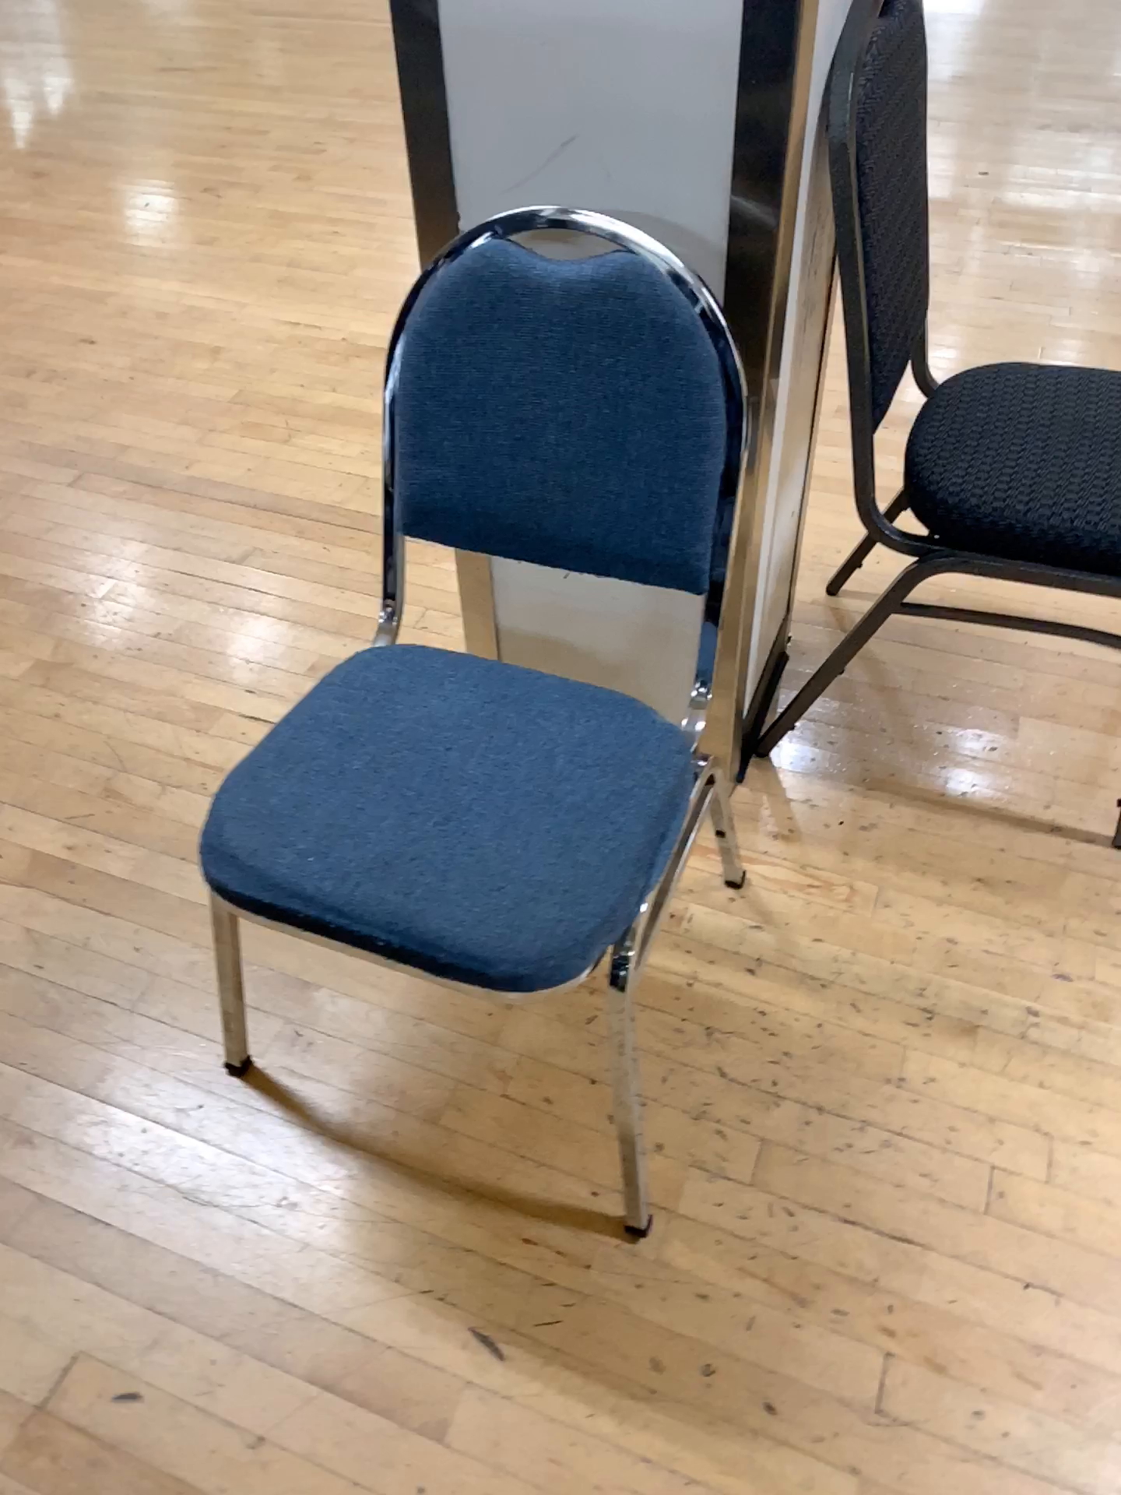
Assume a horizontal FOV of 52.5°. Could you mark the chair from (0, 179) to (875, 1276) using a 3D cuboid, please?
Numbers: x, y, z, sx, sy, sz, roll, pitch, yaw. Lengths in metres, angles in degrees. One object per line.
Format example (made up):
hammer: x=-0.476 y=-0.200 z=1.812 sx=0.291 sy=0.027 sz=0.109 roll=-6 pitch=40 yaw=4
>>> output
chair: x=-0.076 y=0.004 z=1.175 sx=0.548 sy=0.888 sz=0.555 roll=15 pitch=47 yaw=17
